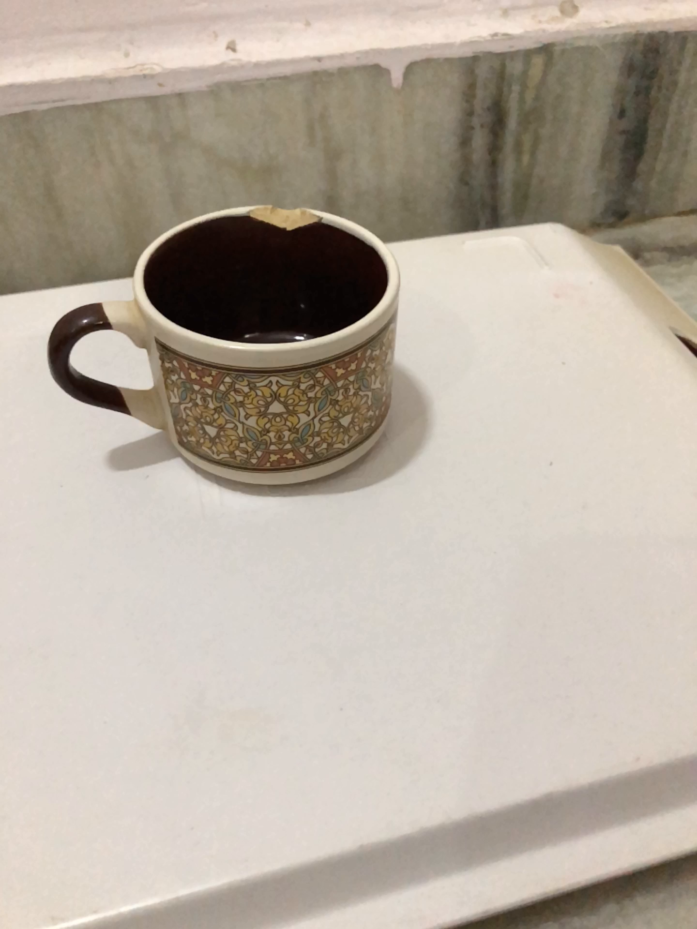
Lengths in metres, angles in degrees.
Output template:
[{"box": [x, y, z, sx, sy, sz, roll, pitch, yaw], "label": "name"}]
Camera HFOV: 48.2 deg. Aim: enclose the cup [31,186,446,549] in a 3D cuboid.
[{"box": [-0.034, -0.033, 0.236, 0.100, 0.060, 0.080, -10, 45, -10], "label": "cup"}]
